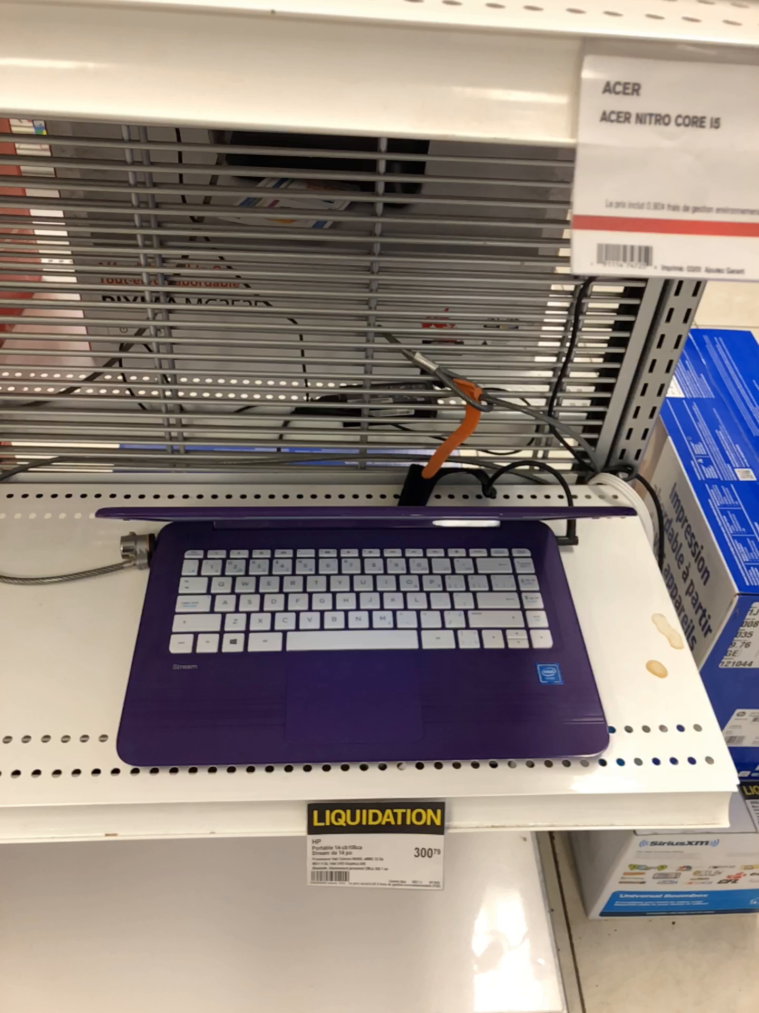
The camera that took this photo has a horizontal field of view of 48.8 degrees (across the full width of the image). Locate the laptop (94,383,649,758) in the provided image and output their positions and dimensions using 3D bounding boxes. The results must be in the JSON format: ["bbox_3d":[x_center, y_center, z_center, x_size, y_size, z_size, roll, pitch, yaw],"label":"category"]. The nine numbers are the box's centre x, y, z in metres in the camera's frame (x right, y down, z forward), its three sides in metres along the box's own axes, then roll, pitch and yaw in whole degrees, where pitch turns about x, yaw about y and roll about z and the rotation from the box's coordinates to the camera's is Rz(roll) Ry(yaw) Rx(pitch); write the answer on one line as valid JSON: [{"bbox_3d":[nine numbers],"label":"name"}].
[{"bbox_3d":[-0.007,0.038,0.578,0.305,0.138,0.207,0,46,-3],"label":"laptop"}]
